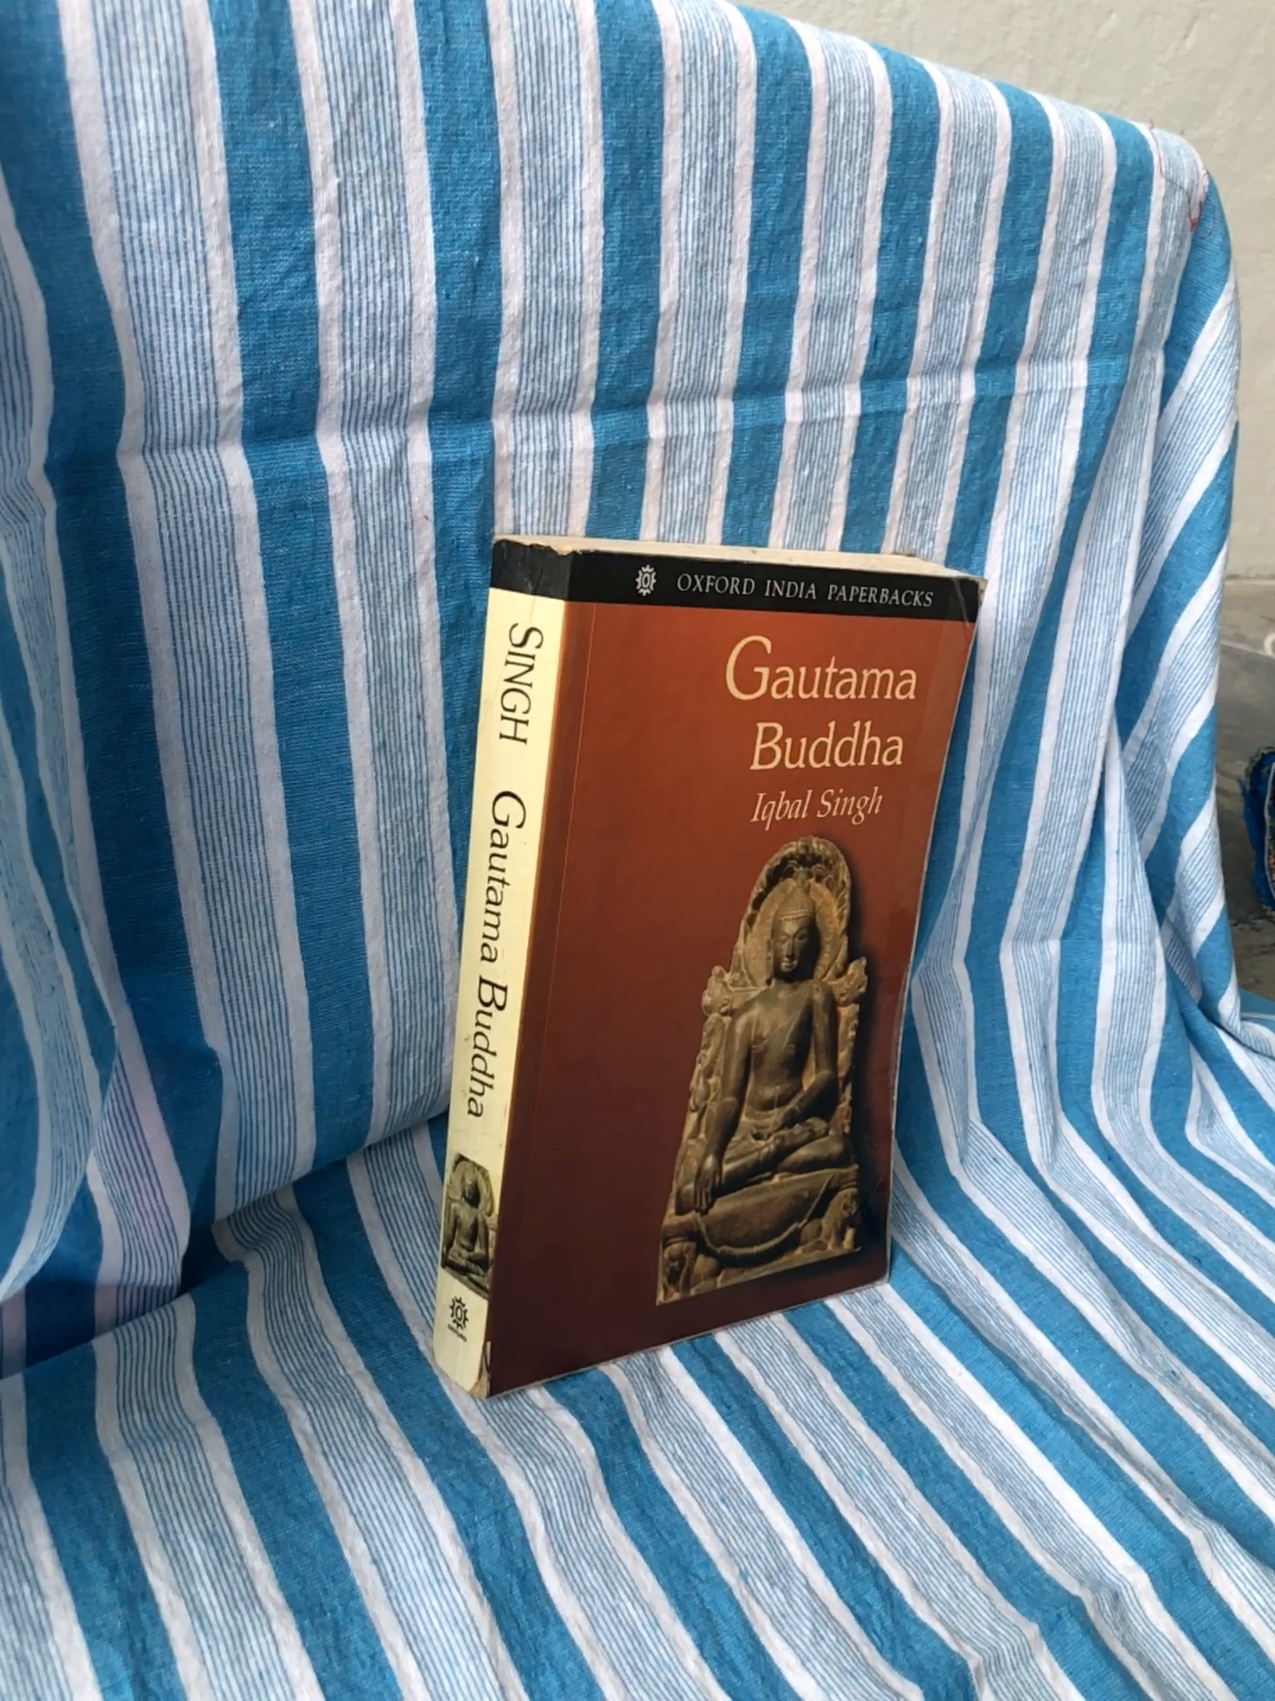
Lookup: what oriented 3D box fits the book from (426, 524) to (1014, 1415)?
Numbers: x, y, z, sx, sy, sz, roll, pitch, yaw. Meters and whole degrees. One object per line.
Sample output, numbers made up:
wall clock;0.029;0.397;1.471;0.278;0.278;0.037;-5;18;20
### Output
book;0.021;0.026;0.373;0.141;0.209;0.040;-4;16;-32
